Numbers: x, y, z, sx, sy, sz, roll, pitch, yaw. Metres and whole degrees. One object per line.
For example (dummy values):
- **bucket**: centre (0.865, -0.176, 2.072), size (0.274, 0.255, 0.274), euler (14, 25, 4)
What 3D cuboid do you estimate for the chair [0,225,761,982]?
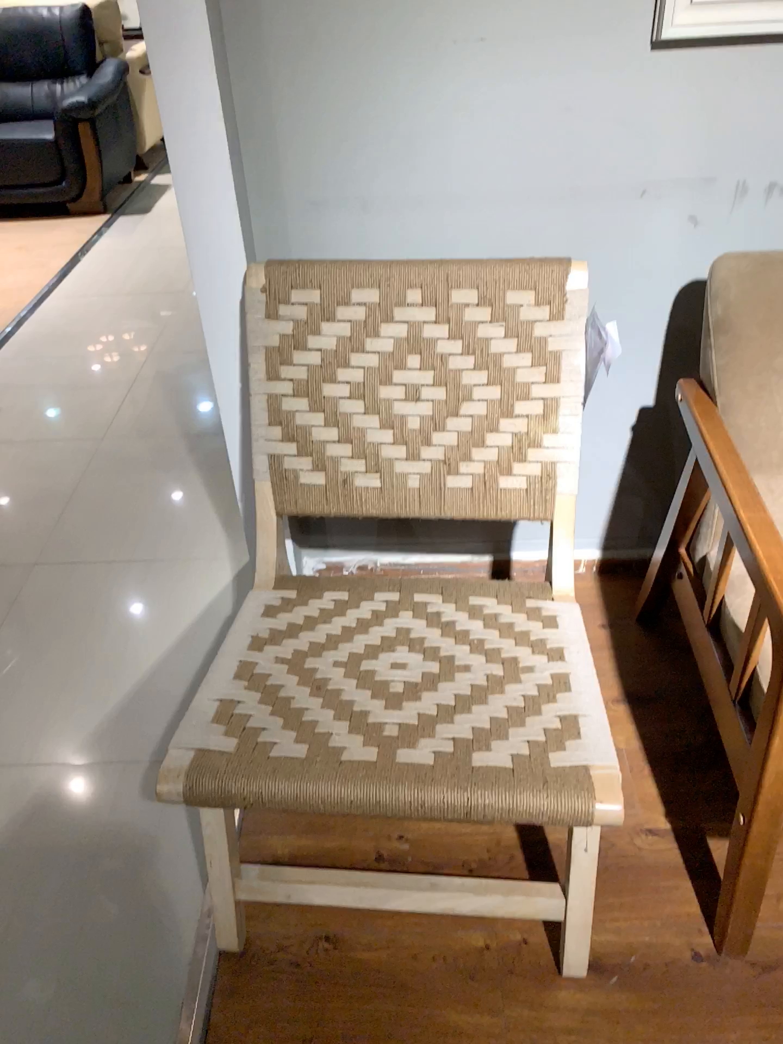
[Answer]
- **chair**: centre (0.019, 0.105, 1.164), size (0.630, 0.846, 0.663), euler (1, 37, 5)
